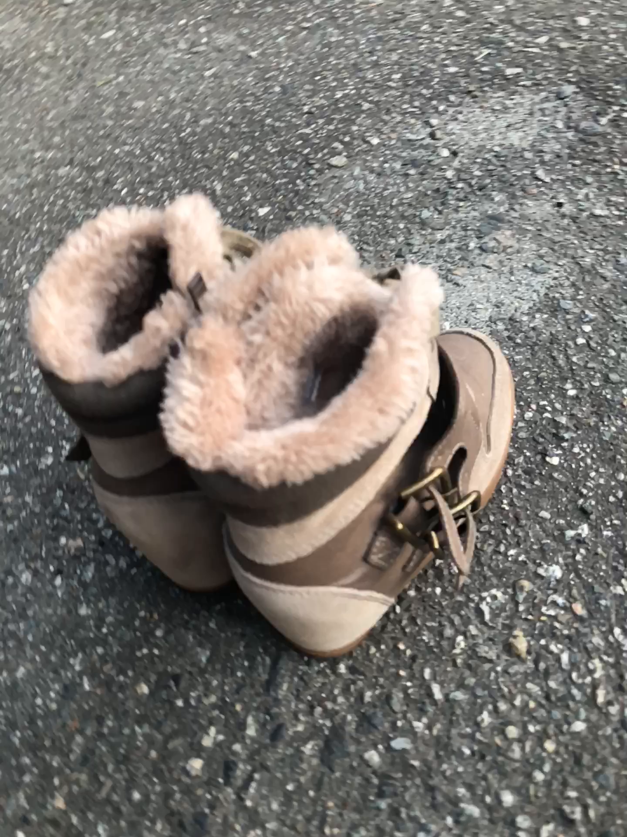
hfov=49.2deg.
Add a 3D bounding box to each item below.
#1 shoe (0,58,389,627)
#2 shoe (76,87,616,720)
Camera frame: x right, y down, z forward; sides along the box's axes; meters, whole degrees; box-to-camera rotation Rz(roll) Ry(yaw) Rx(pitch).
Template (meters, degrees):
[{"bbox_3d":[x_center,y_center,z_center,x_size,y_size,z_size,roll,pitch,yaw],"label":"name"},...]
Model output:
[{"bbox_3d":[-0.056,-0.045,0.369,0.100,0.179,0.231,17,57,23],"label":"shoe"},{"bbox_3d":[0.036,-0.008,0.328,0.090,0.179,0.231,26,60,27],"label":"shoe"}]
